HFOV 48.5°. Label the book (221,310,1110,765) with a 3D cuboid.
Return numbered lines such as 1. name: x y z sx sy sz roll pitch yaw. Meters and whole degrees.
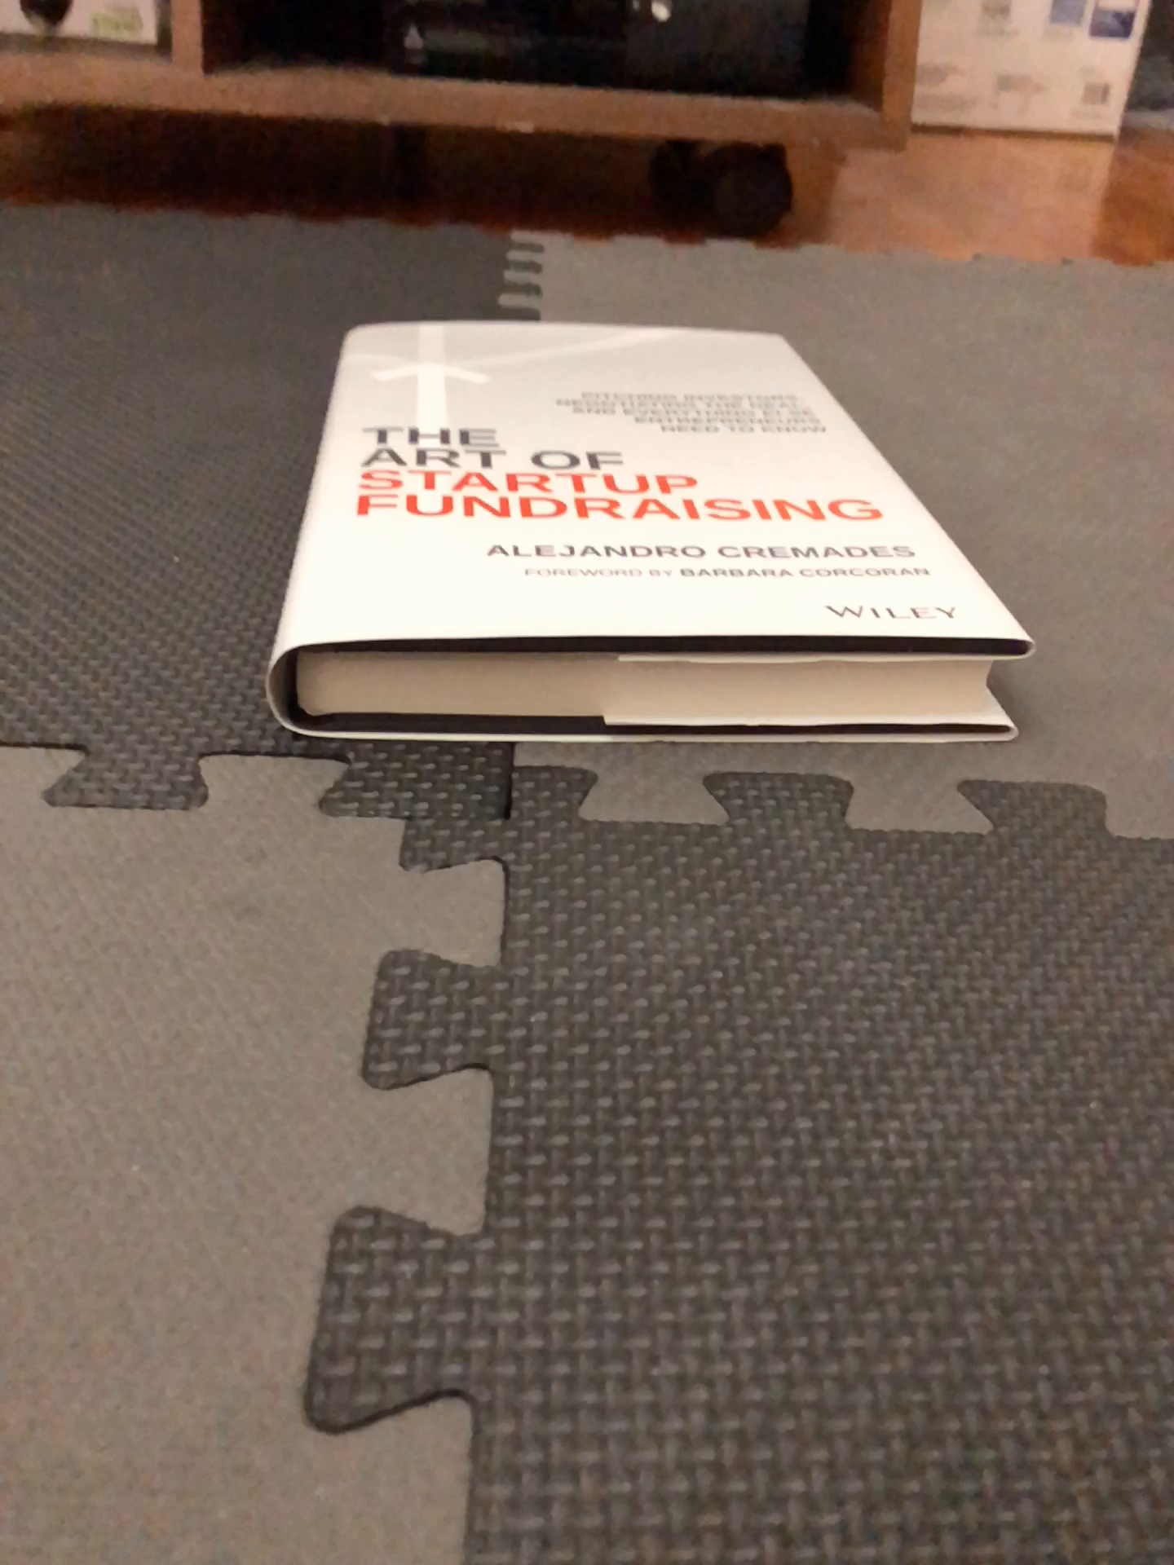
1. book: 0.008 -0.084 0.361 0.170 0.030 0.252 0 32 -5
